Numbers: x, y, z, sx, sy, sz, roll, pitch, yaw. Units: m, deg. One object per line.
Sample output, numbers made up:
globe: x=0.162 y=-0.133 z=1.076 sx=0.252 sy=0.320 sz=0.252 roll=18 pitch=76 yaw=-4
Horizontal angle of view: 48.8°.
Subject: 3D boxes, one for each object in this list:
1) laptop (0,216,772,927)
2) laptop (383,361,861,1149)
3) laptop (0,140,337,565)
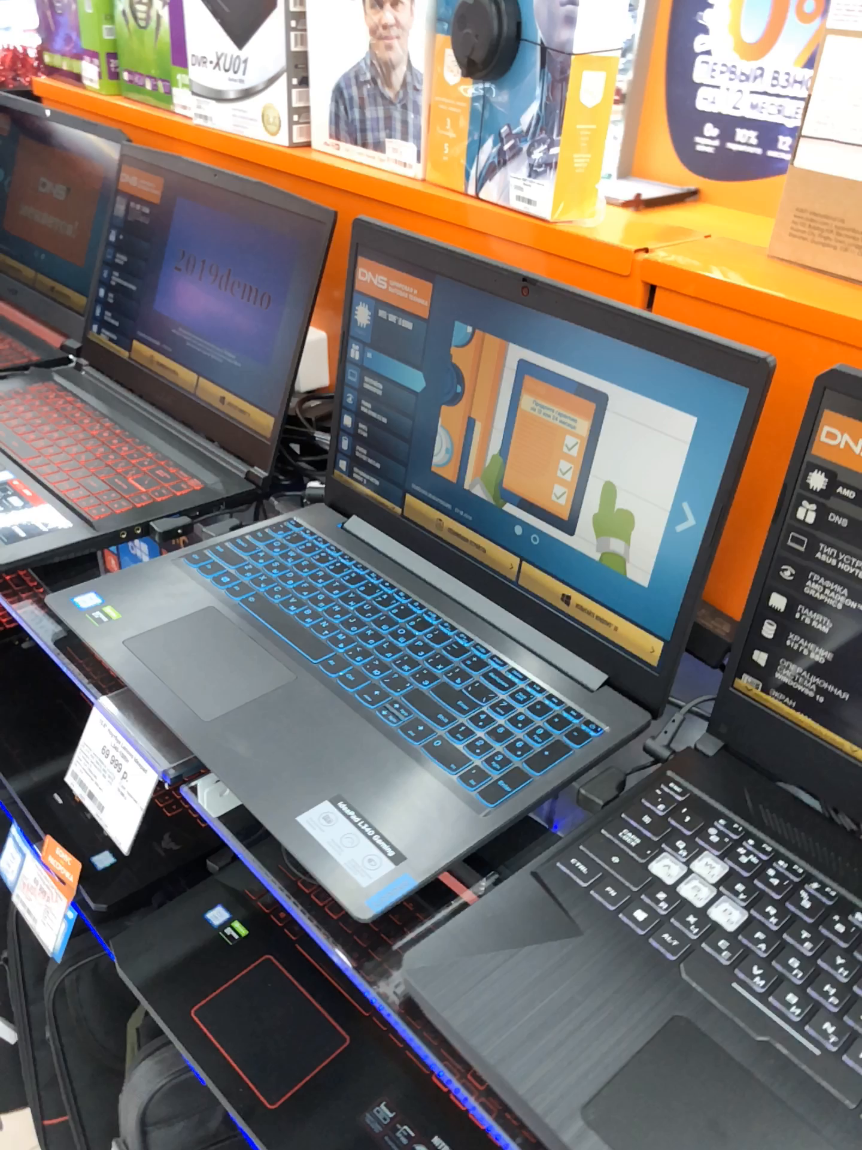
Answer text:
laptop: x=-0.046 y=-0.051 z=0.593 sx=0.279 sy=0.235 sz=0.357 roll=-23 pitch=41 yaw=-37
laptop: x=0.213 y=0.116 z=0.352 sx=0.273 sy=0.244 sz=0.368 roll=-22 pitch=40 yaw=-36
laptop: x=-0.324 y=-0.231 z=0.852 sx=0.320 sy=0.224 sz=0.357 roll=-24 pitch=42 yaw=-38
